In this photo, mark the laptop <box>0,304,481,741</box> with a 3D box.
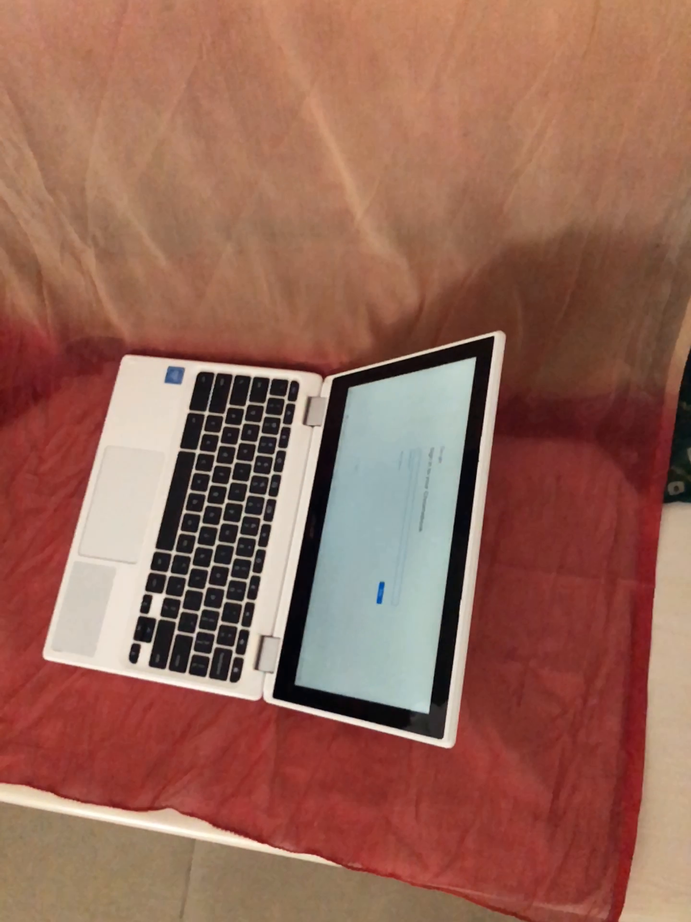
[{"bbox_3d":[-0.081,0.040,0.591,0.337,0.113,0.263,7,74,13],"label":"laptop"}]
